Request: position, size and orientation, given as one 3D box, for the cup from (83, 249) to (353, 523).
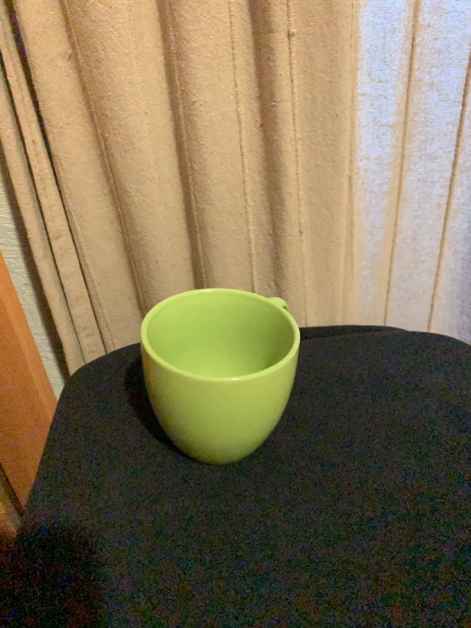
[{"bbox_3d":[-0.004,0.029,0.282,0.090,0.069,0.125,23,40,26],"label":"cup"}]
